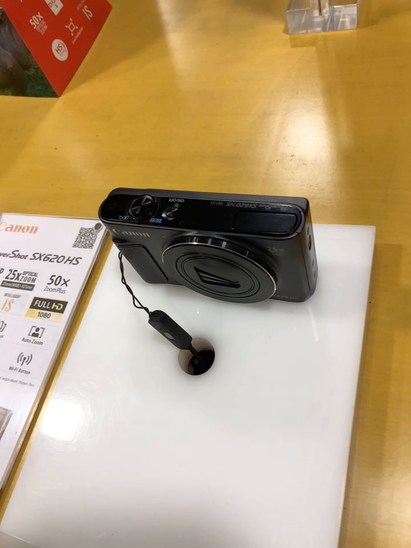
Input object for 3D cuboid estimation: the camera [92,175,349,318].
[{"bbox_3d":[0.010,-0.014,0.222,0.110,0.060,0.030,8,64,22],"label":"camera"}]
